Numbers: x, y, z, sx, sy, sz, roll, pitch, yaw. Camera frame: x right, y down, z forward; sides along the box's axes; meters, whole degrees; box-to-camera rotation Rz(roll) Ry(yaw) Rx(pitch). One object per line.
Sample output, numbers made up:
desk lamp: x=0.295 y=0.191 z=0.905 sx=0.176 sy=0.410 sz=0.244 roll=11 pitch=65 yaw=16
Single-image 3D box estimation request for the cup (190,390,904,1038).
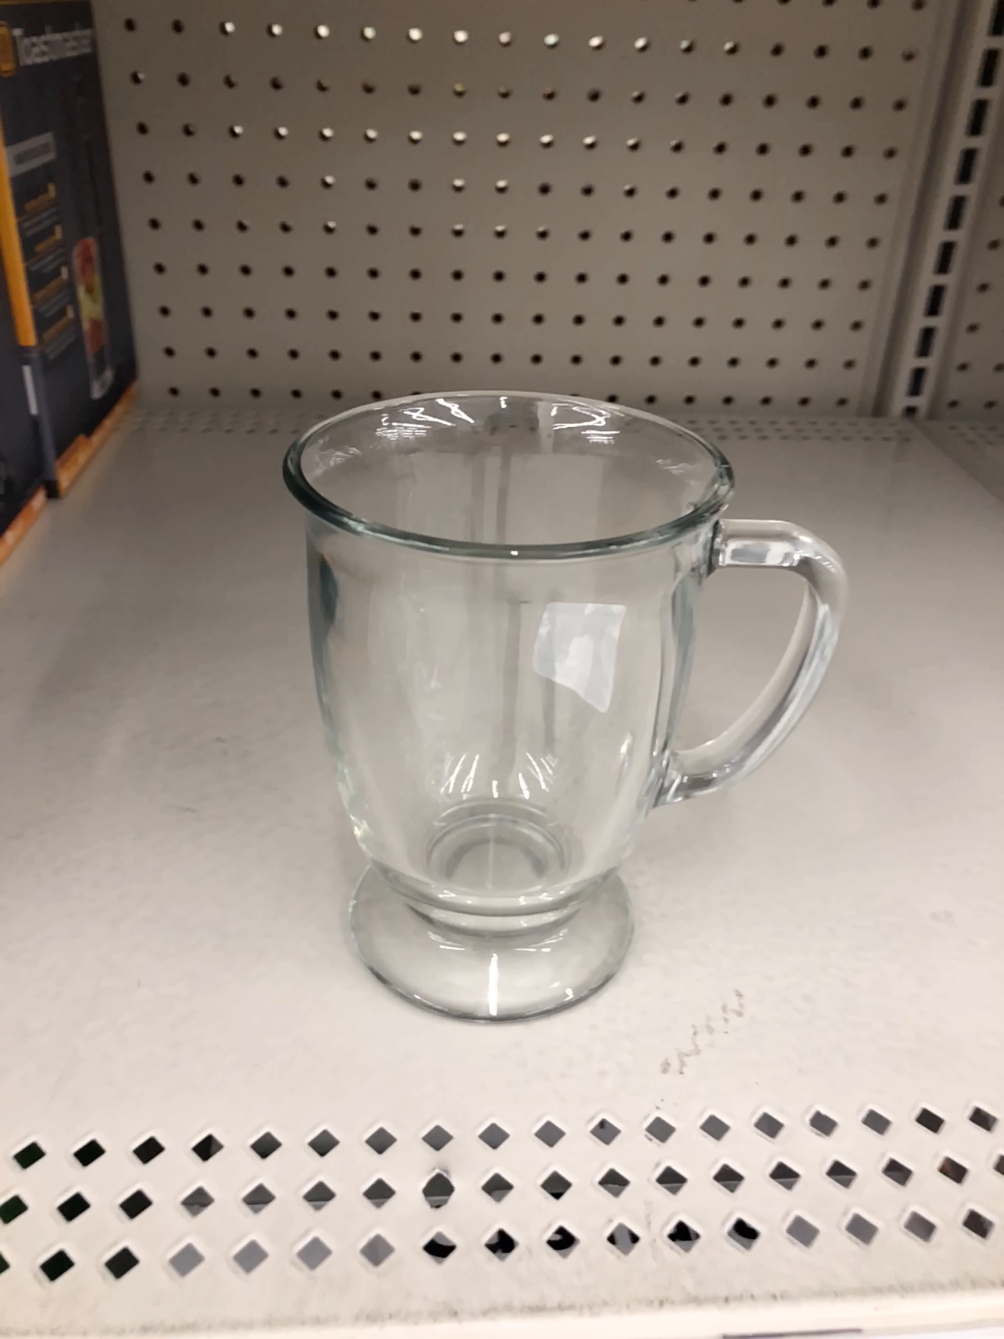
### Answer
cup: x=0.005 y=0.006 z=0.294 sx=0.138 sy=0.128 sz=0.110 roll=-1 pitch=31 yaw=-4
